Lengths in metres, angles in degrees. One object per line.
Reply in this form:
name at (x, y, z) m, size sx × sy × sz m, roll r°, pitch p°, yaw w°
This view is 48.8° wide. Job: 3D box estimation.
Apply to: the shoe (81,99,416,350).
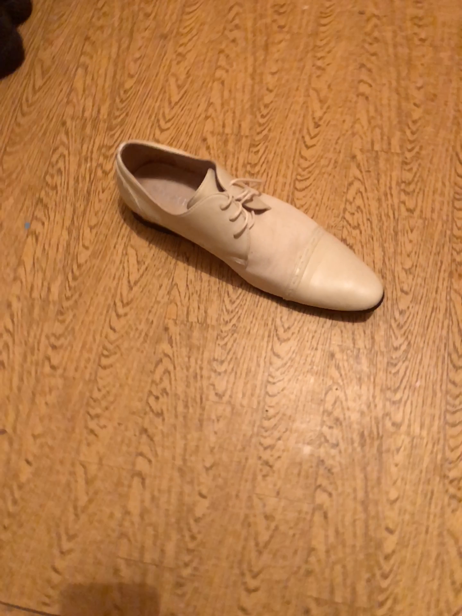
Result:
shoe at (0.013, -0.086, 0.533) m, size 0.310 × 0.100 × 0.100 m, roll 29°, pitch 77°, yaw 10°
